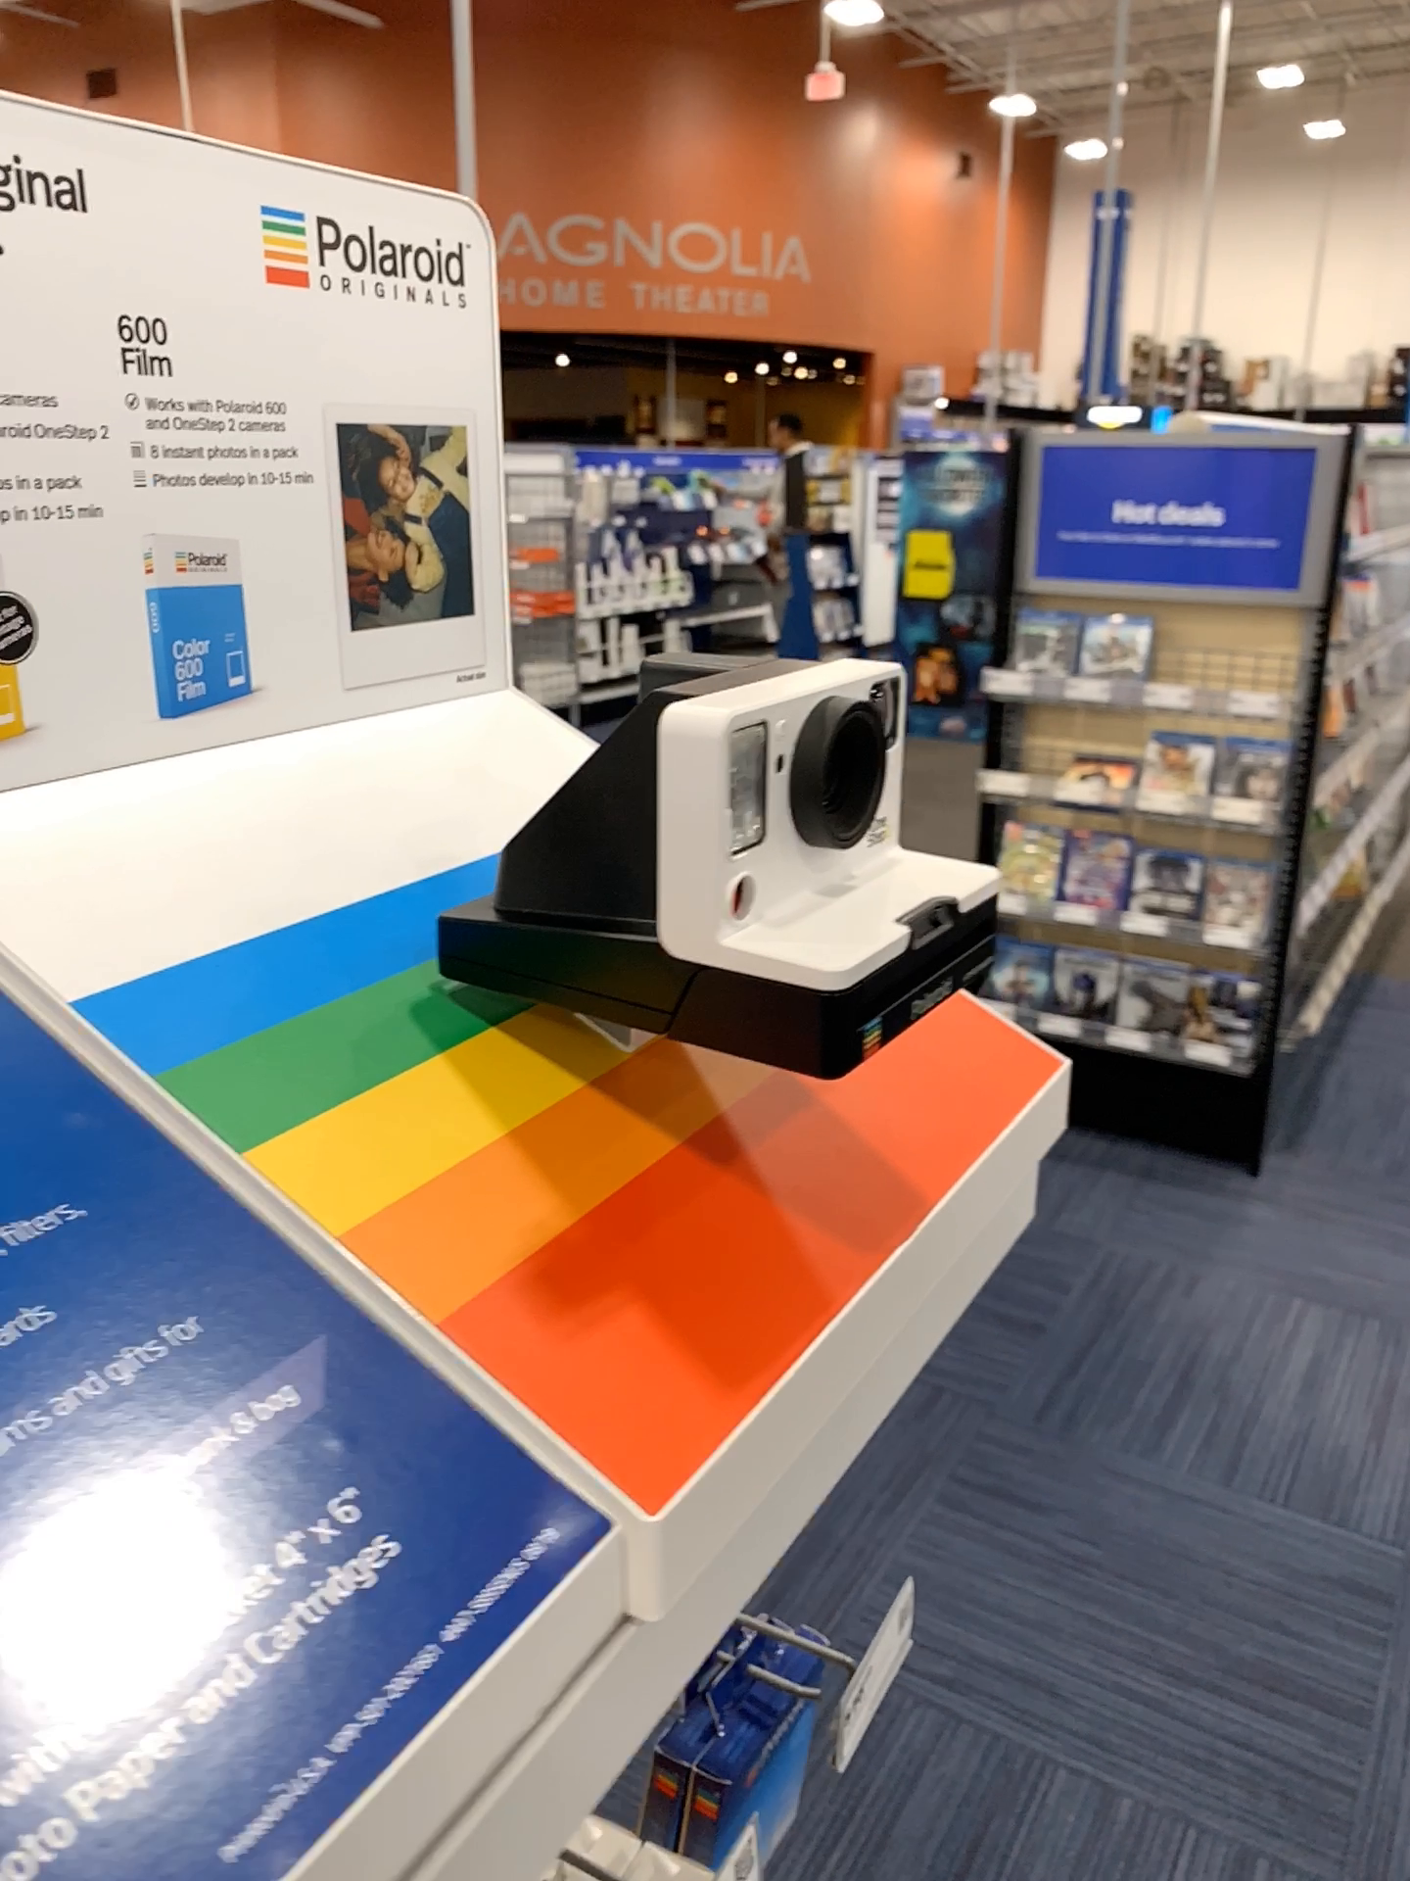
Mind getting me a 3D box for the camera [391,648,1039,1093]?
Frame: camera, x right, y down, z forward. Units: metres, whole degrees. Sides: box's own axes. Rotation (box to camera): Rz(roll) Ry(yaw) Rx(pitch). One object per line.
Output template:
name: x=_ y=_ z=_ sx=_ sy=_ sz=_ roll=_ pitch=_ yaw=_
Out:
camera: x=0.006 y=-0.033 z=0.451 sx=0.150 sy=0.090 sz=0.130 roll=11 pitch=21 yaw=28
